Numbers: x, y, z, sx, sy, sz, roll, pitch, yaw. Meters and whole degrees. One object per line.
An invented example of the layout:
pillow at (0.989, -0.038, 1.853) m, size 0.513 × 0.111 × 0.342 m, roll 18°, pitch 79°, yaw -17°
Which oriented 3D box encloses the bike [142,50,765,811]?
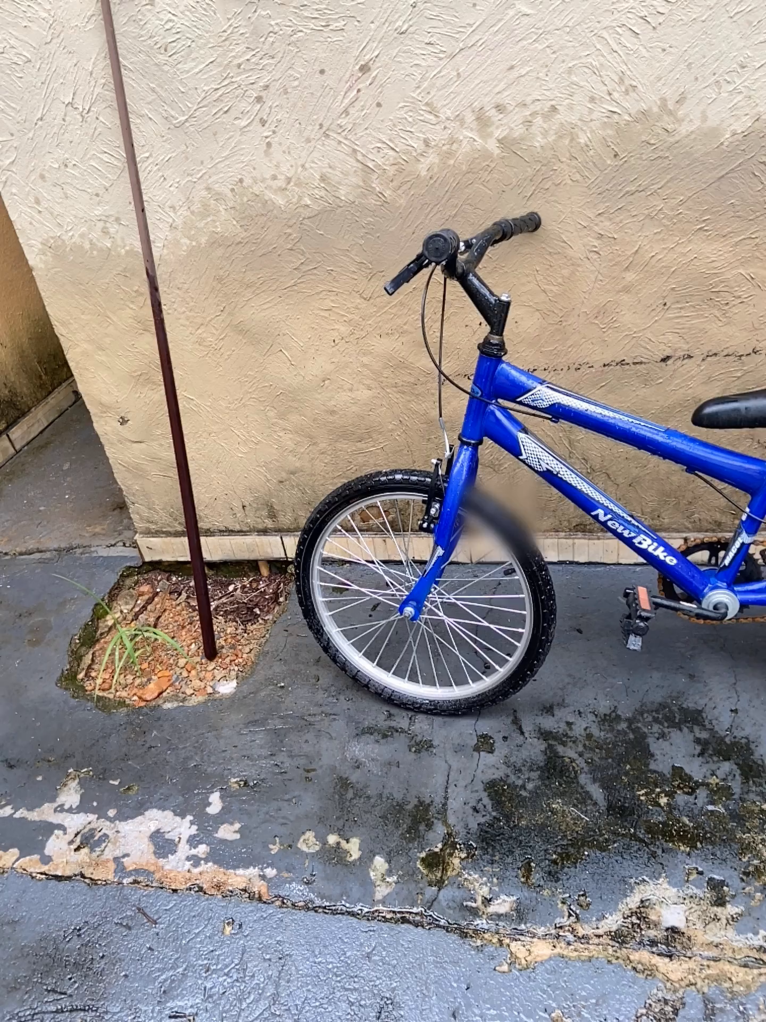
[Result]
bike at (0.447, -0.115, 1.176) m, size 1.249 × 0.849 × 0.546 m, roll 0°, pitch 34°, yaw 13°
